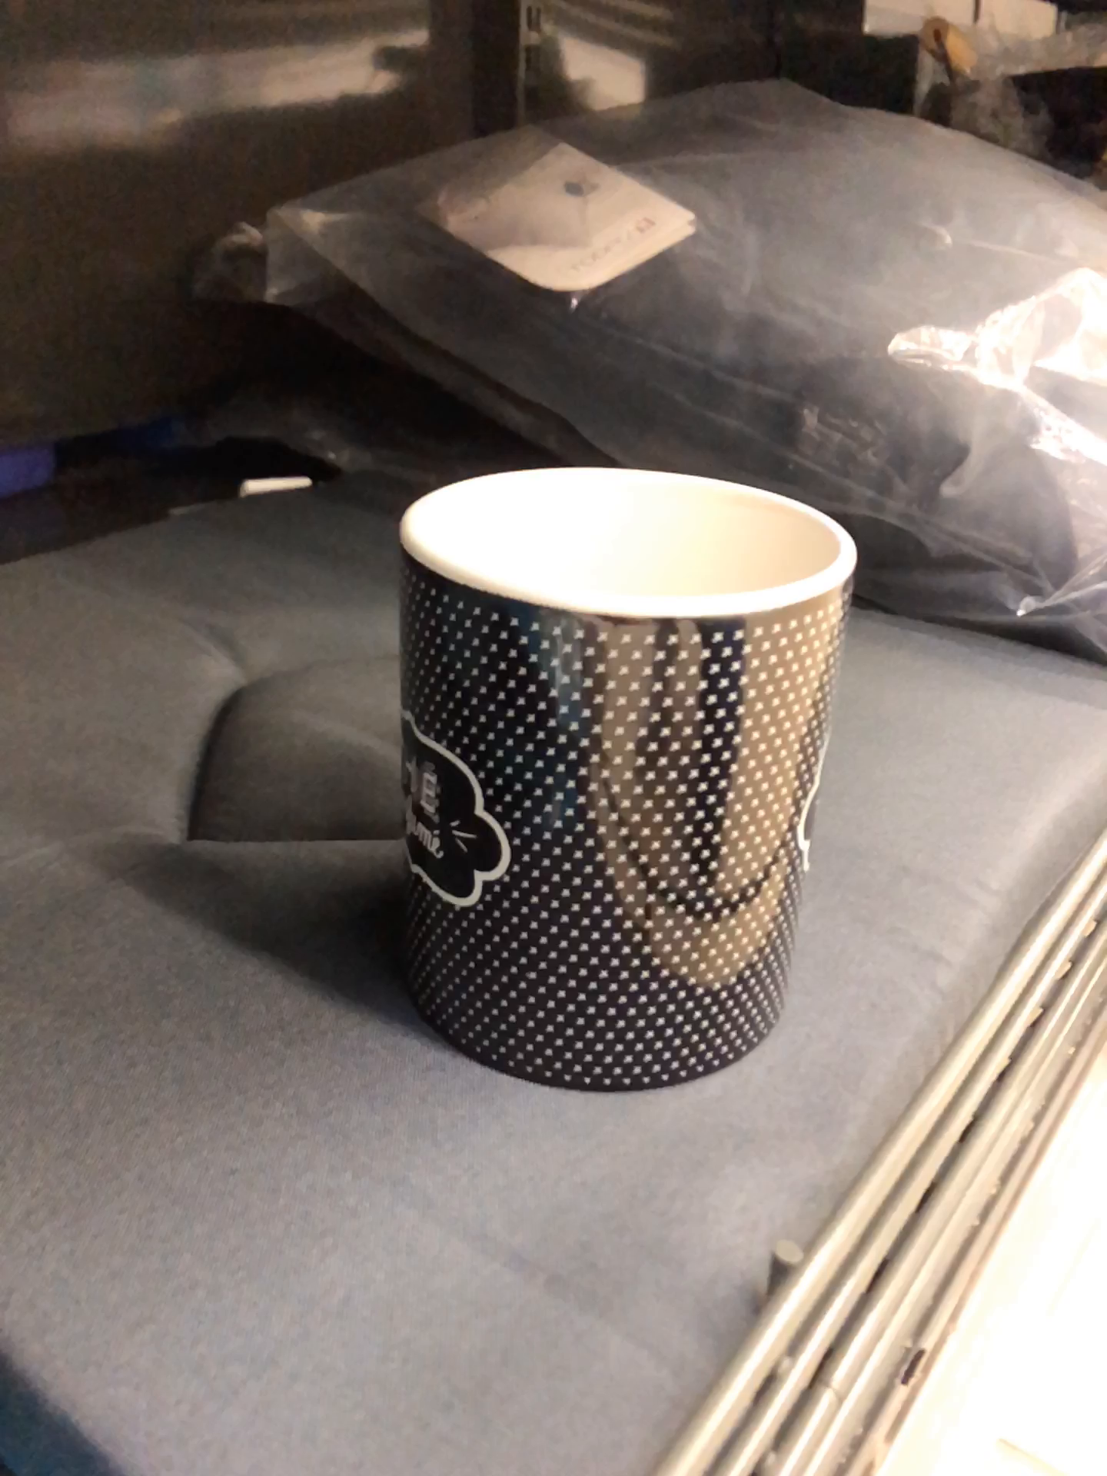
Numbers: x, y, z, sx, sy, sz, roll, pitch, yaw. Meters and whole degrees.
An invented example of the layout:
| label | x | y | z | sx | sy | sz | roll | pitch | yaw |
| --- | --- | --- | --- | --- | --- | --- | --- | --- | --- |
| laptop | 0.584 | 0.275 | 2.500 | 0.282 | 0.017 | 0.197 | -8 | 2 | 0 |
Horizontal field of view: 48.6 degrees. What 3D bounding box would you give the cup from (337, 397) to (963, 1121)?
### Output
| label | x | y | z | sx | sy | sz | roll | pitch | yaw |
| --- | --- | --- | --- | --- | --- | --- | --- | --- | --- |
| cup | 0.005 | -0.007 | 0.251 | 0.090 | 0.099 | 0.120 | -3 | 26 | -10 |
